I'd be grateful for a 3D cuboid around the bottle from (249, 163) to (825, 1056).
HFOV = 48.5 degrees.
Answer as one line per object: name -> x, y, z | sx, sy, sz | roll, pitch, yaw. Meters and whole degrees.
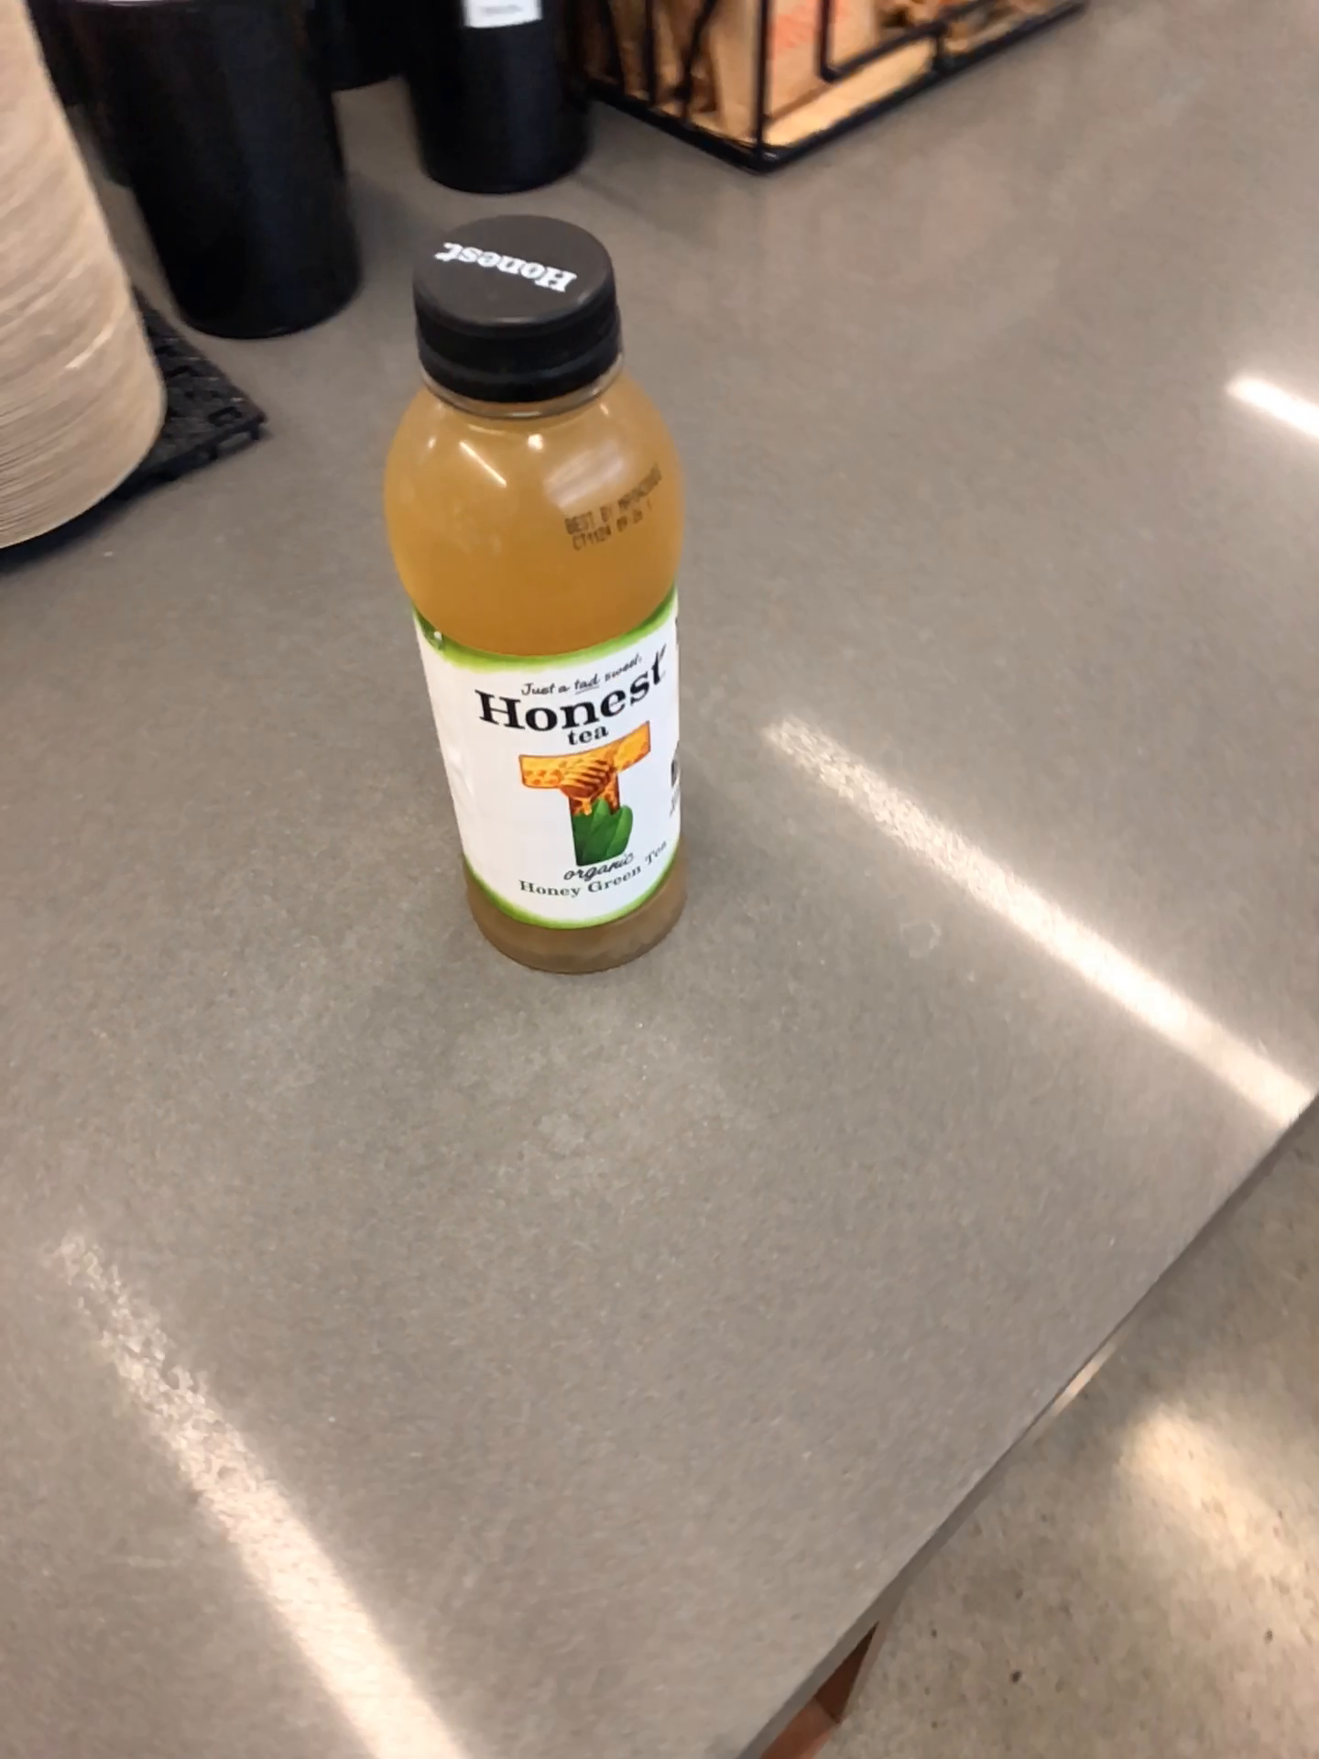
bottle -> -0.025, -0.056, 0.368 | 0.090, 0.189, 0.090 | -1, 52, 1
